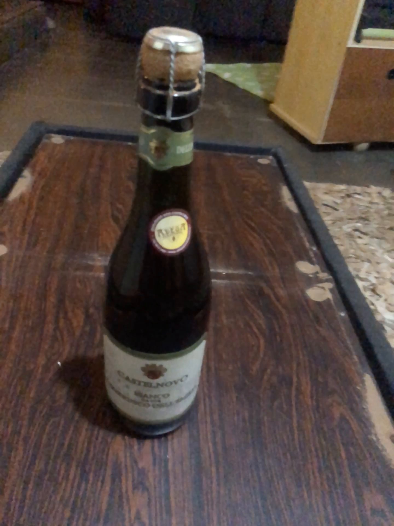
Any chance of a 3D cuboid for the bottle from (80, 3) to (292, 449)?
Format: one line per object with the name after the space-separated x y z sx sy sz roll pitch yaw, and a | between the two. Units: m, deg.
-0.019 0.000 0.305 0.090 0.298 0.091 6 36 -4 | bottle
